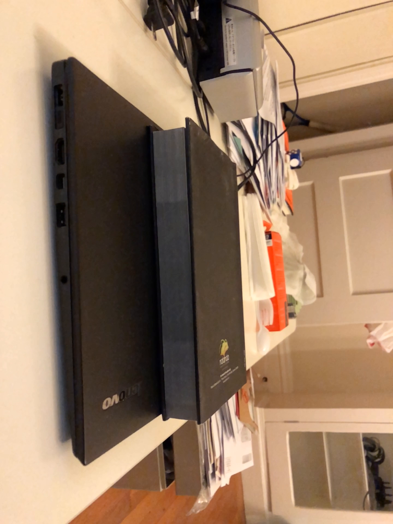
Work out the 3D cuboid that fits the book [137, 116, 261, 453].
[{"bbox_3d":[0.010,0.017,0.374,0.151,0.040,0.230,7,77,-70],"label":"book"}]
